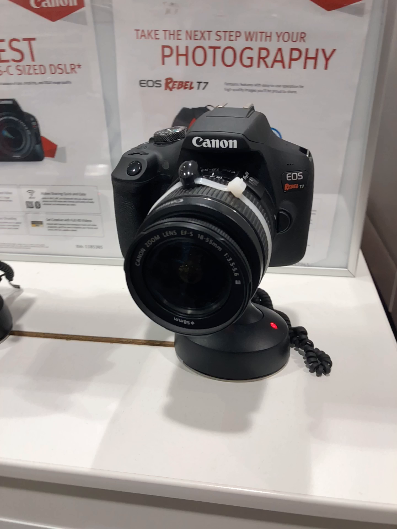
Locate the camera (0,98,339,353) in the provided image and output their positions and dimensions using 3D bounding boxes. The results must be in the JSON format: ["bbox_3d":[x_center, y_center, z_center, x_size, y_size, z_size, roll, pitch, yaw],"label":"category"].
[{"bbox_3d":[-0.003,-0.037,0.251,0.140,0.090,0.141,4,28,11],"label":"camera"}]
